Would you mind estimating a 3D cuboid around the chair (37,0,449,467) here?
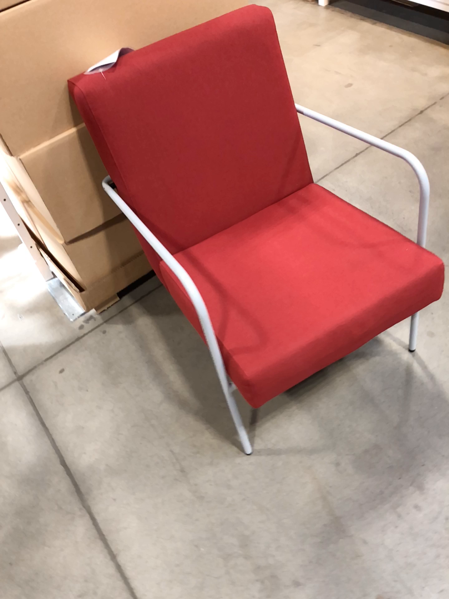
[{"bbox_3d":[0.080,-0.191,1.241,0.630,0.708,0.762,-29,52,-13],"label":"chair"}]
